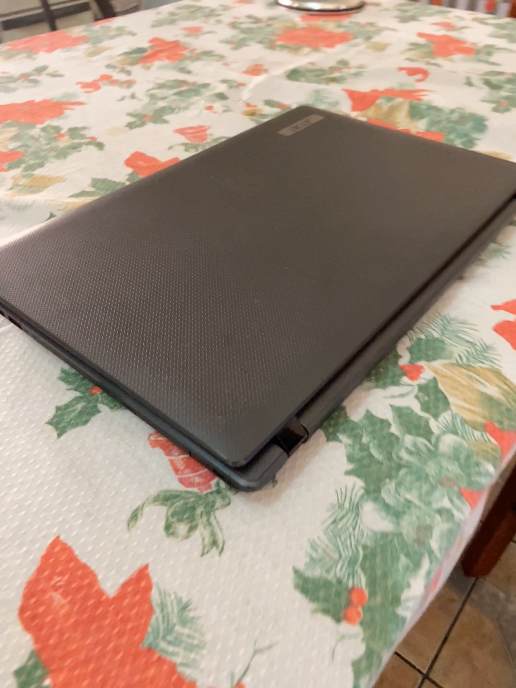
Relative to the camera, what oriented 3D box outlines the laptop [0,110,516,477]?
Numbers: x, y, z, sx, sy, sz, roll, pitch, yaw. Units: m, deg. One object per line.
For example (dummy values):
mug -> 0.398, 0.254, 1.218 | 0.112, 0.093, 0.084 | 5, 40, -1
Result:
laptop -> 0.006, -0.087, 0.361 | 0.223, 0.001, 0.352 | 30, 49, 27
